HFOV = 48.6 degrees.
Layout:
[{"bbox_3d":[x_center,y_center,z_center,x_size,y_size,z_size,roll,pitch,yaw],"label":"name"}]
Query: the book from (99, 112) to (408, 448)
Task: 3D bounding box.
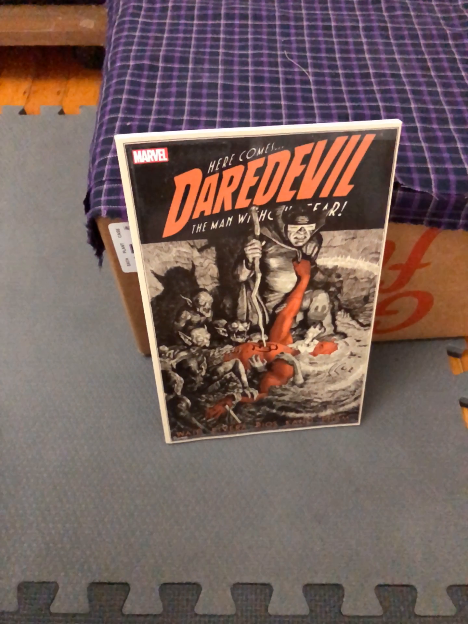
[{"bbox_3d":[0.015,-0.004,0.340,0.160,0.229,0.020,-5,35,-3],"label":"book"}]
